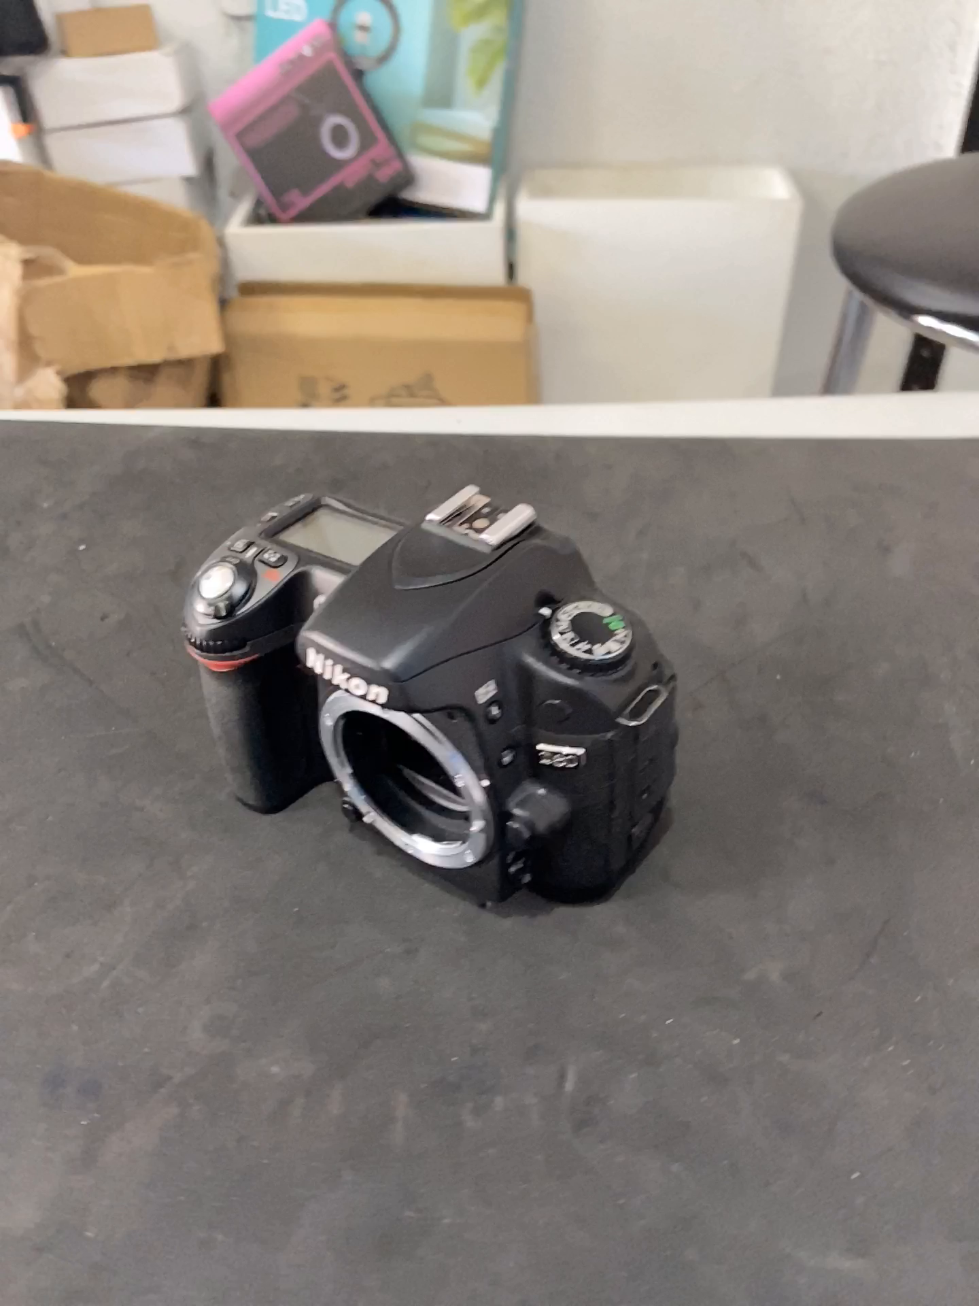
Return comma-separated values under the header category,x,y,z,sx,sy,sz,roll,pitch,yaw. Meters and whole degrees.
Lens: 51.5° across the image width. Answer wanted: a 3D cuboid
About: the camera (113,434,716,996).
category,x,y,z,sx,sy,sz,roll,pitch,yaw
camera,-0.019,0.010,0.294,0.136,0.088,0.084,22,46,28
